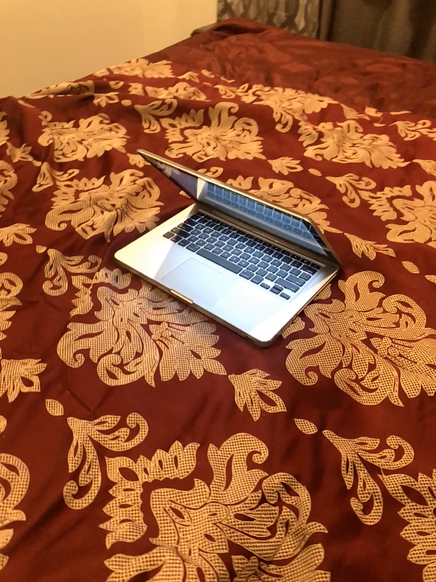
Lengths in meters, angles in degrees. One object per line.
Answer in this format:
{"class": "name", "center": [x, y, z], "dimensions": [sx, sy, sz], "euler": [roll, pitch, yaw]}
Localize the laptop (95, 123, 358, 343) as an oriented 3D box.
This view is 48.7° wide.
{"class": "laptop", "center": [0.010, -0.108, 0.747], "dimensions": [0.313, 0.156, 0.212], "euler": [28, 49, 27]}
